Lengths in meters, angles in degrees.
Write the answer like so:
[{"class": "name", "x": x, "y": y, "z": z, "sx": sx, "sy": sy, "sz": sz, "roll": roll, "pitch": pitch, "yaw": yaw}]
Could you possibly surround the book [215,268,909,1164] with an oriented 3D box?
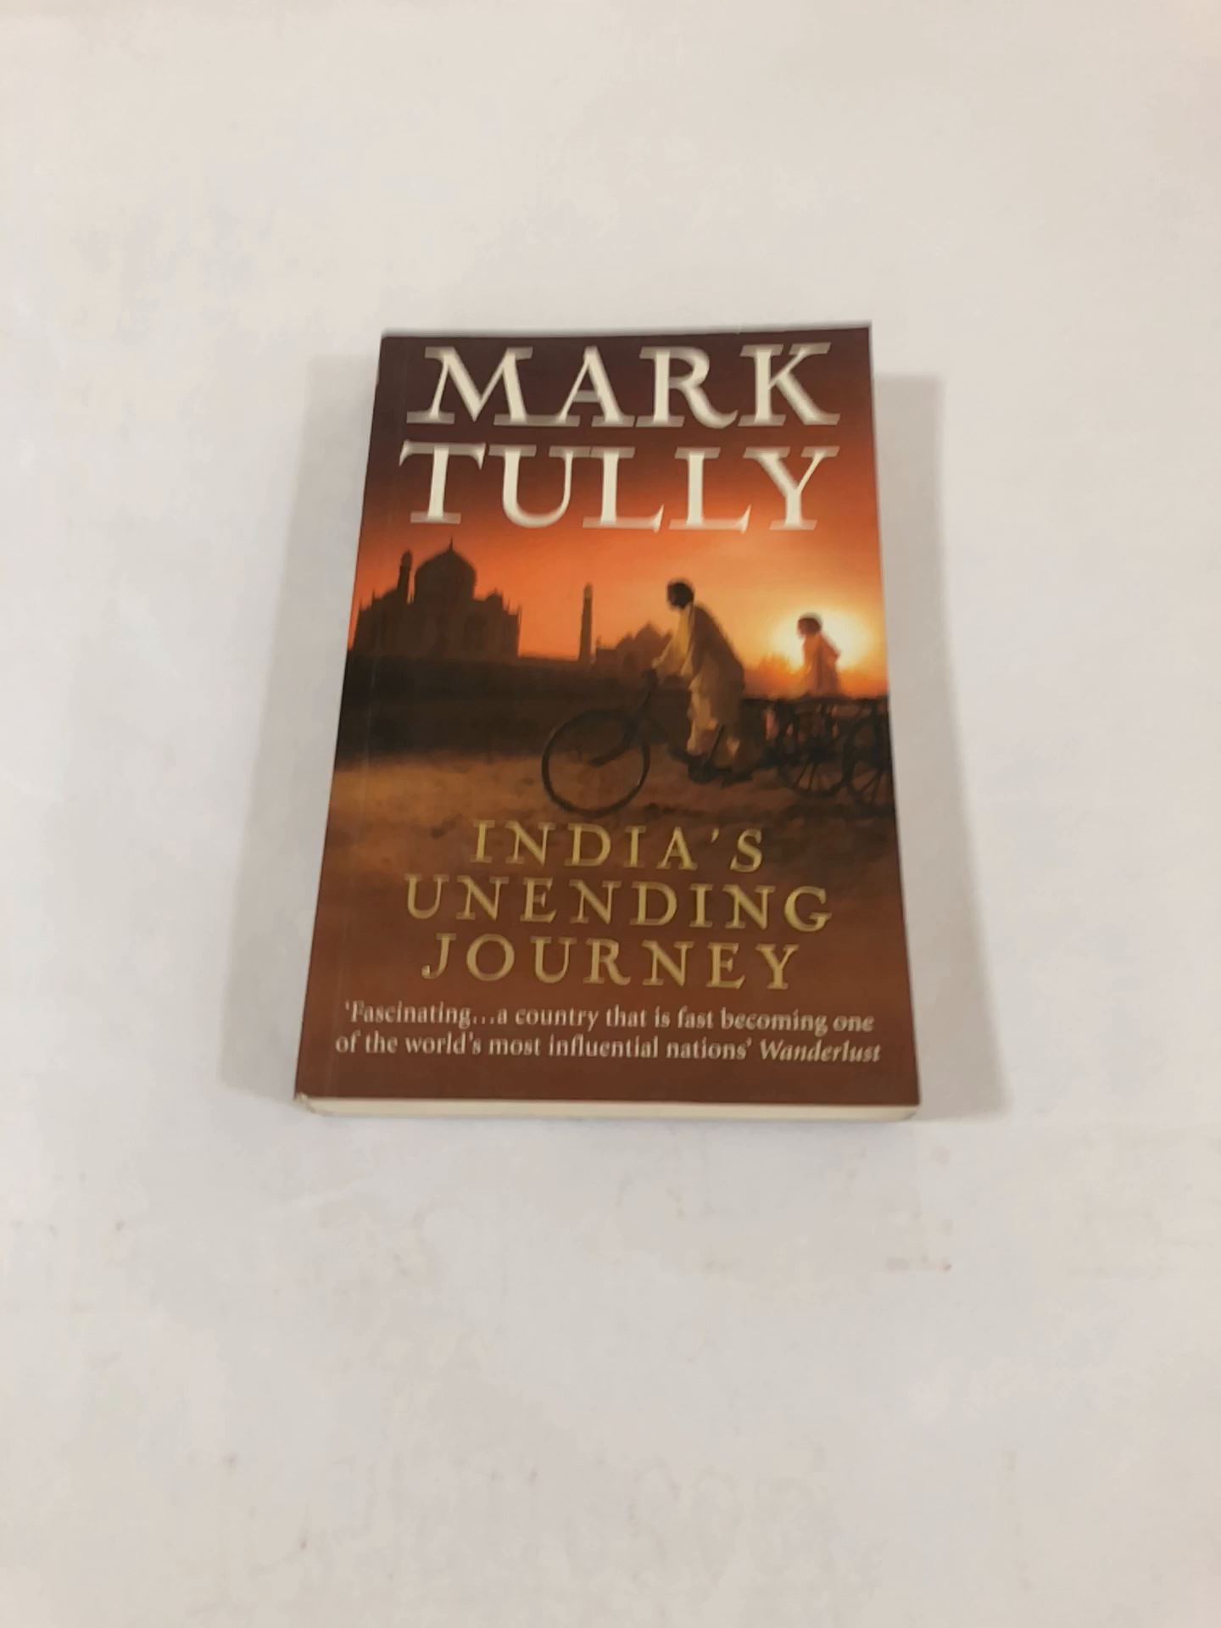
[{"class": "book", "x": -0.006, "y": -0.032, "z": 0.310, "sx": 0.130, "sy": 0.030, "sz": 0.210, "roll": 2, "pitch": 66, "yaw": 0}]
